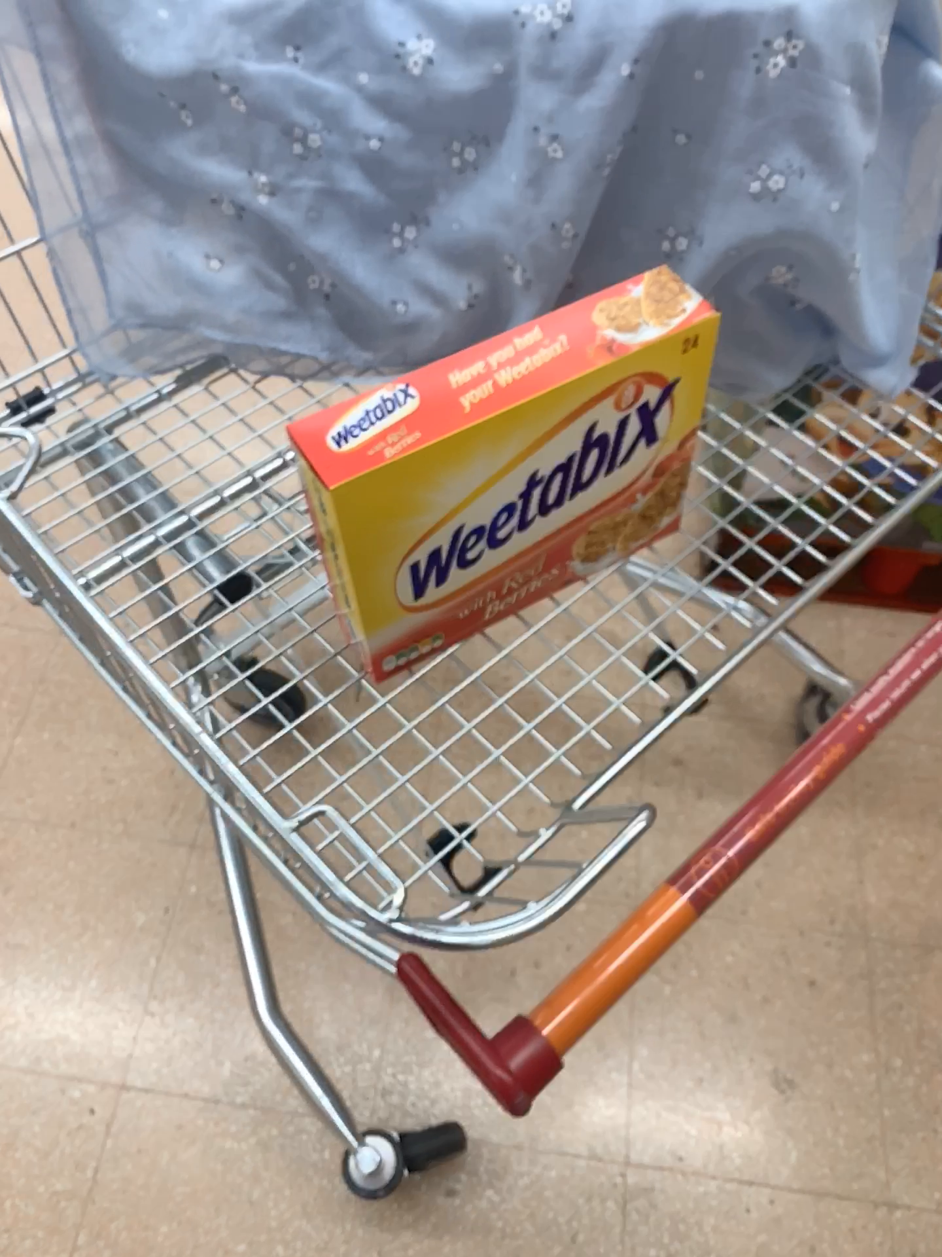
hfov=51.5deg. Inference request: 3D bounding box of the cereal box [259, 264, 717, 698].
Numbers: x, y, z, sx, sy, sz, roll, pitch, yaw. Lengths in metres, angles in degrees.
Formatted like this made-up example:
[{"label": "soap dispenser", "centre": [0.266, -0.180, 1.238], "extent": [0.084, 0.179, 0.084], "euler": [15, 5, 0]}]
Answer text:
[{"label": "cereal box", "centre": [0.017, -0.088, 0.612], "extent": [0.261, 0.189, 0.060], "euler": [-27, 58, -18]}]
